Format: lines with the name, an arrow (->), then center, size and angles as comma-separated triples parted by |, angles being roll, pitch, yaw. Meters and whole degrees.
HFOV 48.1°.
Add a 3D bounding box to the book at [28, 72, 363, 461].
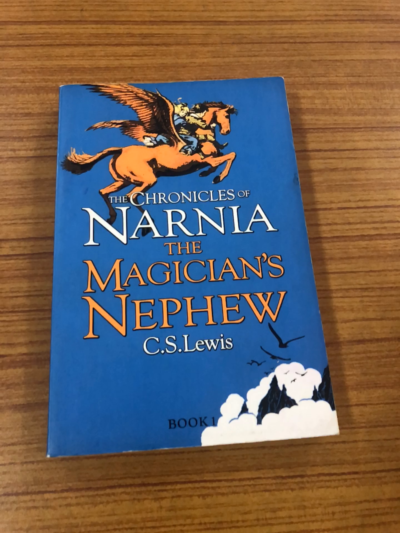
book -> -0.007, -0.010, 0.230 | 0.140, 0.030, 0.190 | -3, 72, -3
